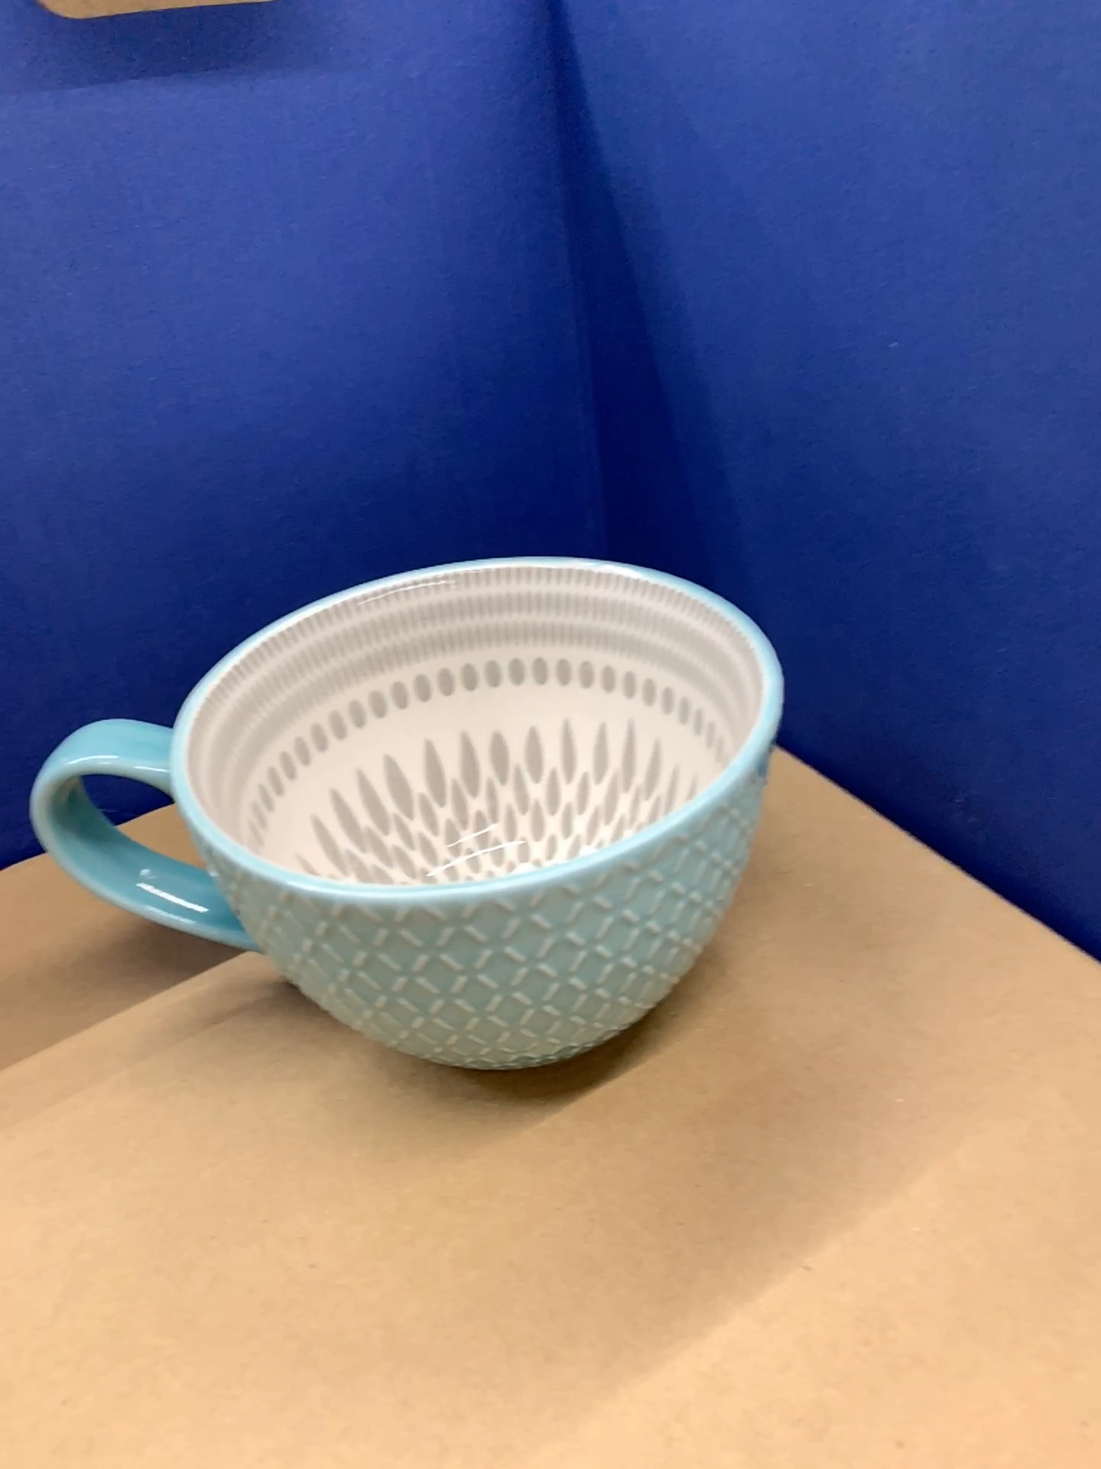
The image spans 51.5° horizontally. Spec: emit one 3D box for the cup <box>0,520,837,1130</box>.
[{"bbox_3d":[-0.027,0.013,0.233,0.152,0.059,0.113,-2,36,8],"label":"cup"}]
